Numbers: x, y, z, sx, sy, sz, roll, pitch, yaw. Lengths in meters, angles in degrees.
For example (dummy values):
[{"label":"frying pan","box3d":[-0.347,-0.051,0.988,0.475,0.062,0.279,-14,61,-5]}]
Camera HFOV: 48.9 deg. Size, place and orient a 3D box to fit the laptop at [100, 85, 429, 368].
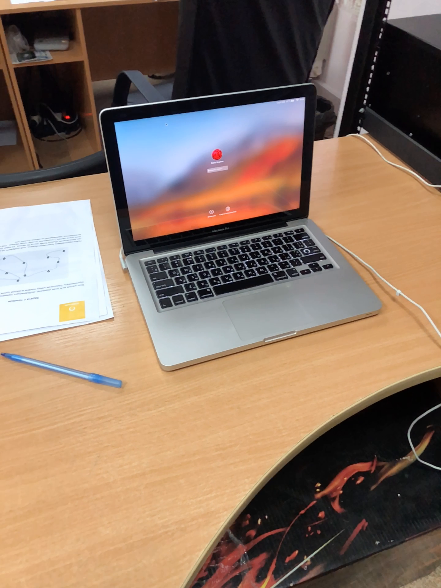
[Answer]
[{"label":"laptop","box3d":[0.035,-0.110,0.652,0.316,0.207,0.266,-14,46,-16]}]
